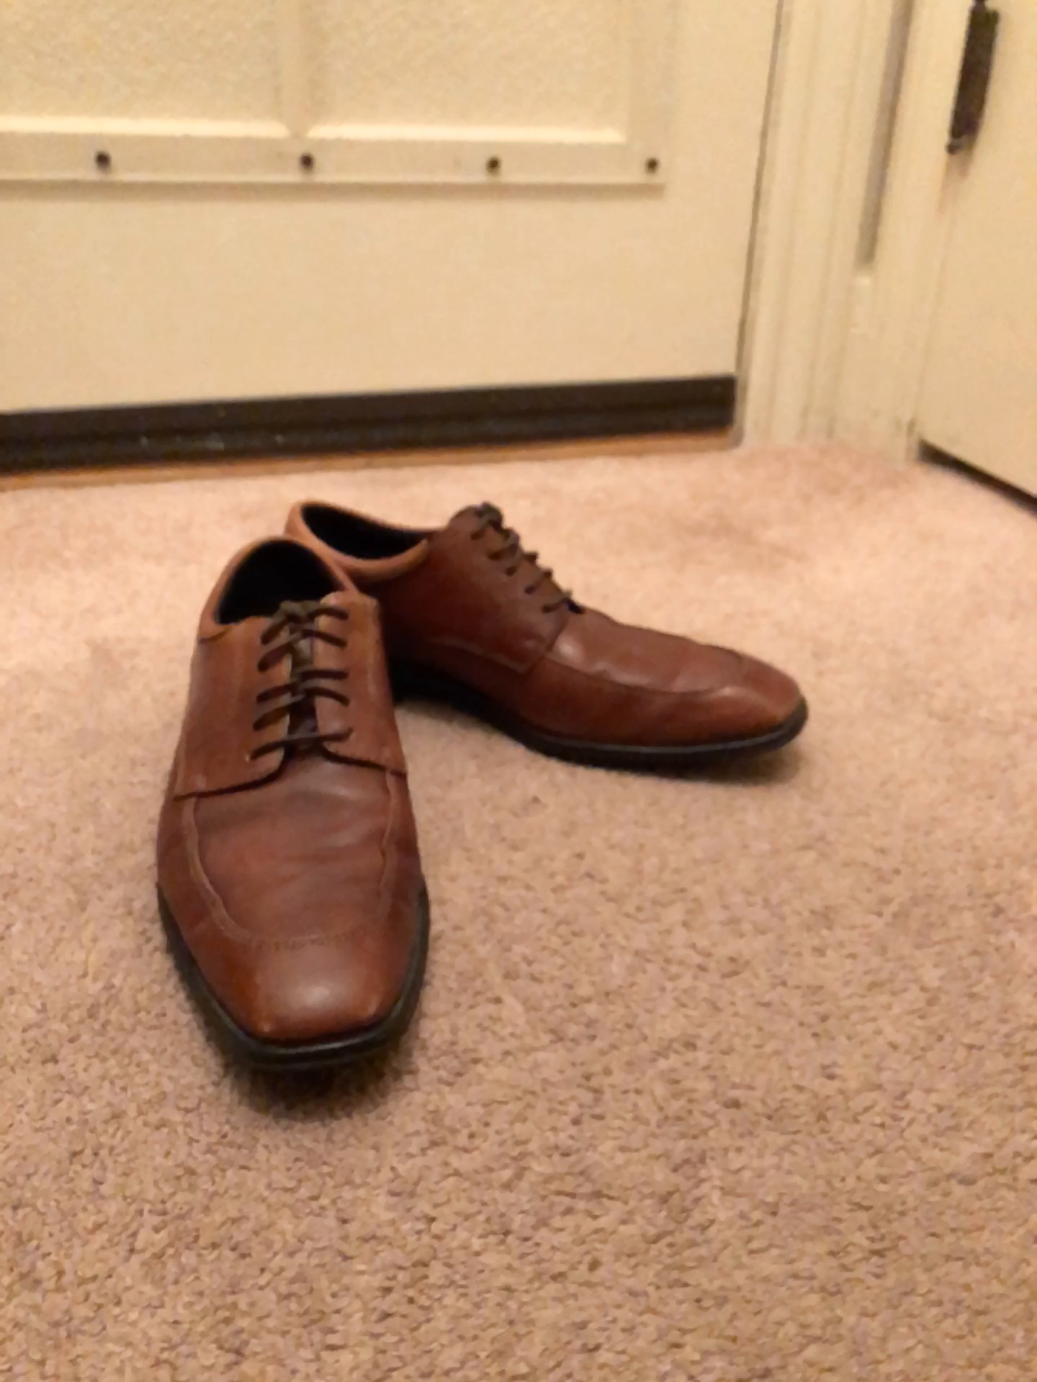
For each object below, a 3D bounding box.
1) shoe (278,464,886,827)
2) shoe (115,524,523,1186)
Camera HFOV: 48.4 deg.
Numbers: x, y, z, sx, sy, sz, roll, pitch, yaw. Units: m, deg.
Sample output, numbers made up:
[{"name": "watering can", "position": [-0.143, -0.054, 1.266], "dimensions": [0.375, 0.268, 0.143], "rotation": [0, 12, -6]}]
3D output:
[{"name": "shoe", "position": [0.028, -0.035, 0.625], "dimensions": [0.300, 0.109, 0.101], "rotation": [13, 29, 20]}, {"name": "shoe", "position": [-0.092, 0.038, 0.500], "dimensions": [0.120, 0.119, 0.302], "rotation": [-5, 28, -12]}]
